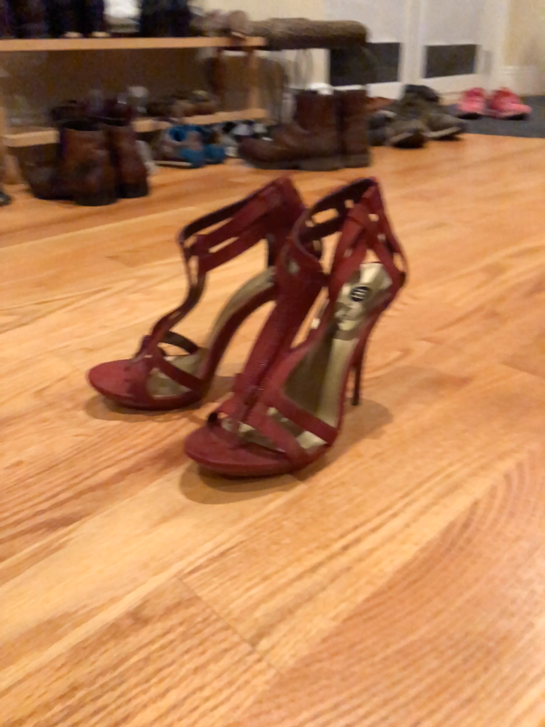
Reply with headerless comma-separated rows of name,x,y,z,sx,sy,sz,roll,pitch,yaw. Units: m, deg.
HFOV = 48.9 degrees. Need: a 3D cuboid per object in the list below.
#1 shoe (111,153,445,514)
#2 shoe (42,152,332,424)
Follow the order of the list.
shoe,0.016,-0.036,0.411,0.207,0.175,0.085,-25,34,-38
shoe,-0.062,-0.066,0.483,0.199,0.175,0.085,-9,27,-14
